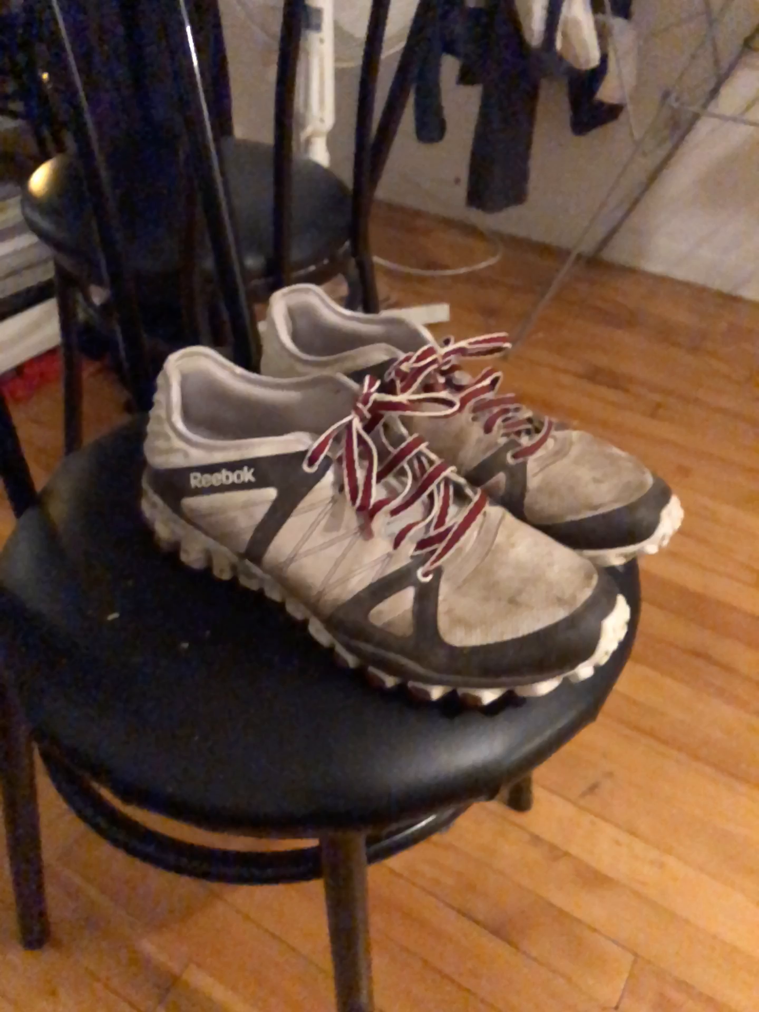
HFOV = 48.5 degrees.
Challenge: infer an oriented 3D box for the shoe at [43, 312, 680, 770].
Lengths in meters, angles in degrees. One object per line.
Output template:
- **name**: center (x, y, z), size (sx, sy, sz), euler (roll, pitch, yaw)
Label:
- **shoe**: center (-0.020, 0.002, 0.449), size (0.311, 0.099, 0.101), euler (22, 43, 22)

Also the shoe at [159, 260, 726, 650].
- **shoe**: center (0.029, -0.047, 0.521), size (0.311, 0.099, 0.121), euler (22, 43, 22)
